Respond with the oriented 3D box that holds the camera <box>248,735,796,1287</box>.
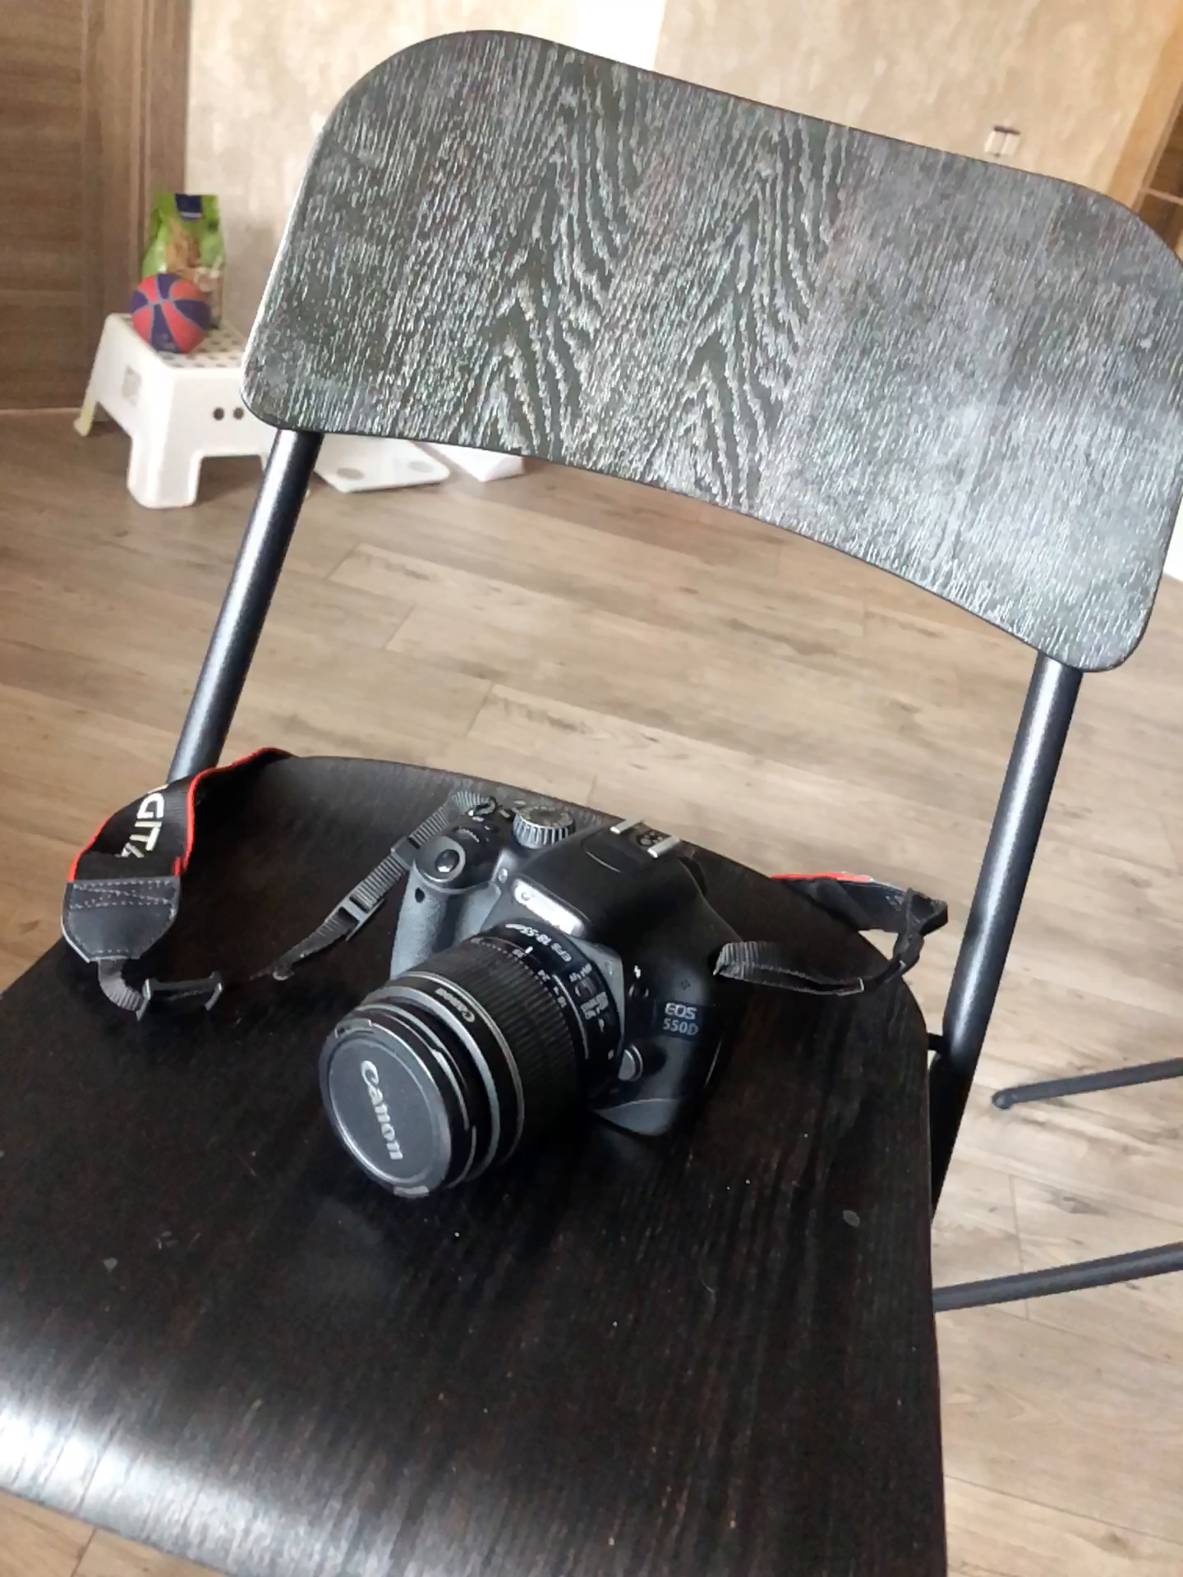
[{"bbox_3d":[-0.025,0.068,0.465,0.120,0.092,0.141,31,36,25],"label":"camera"}]
